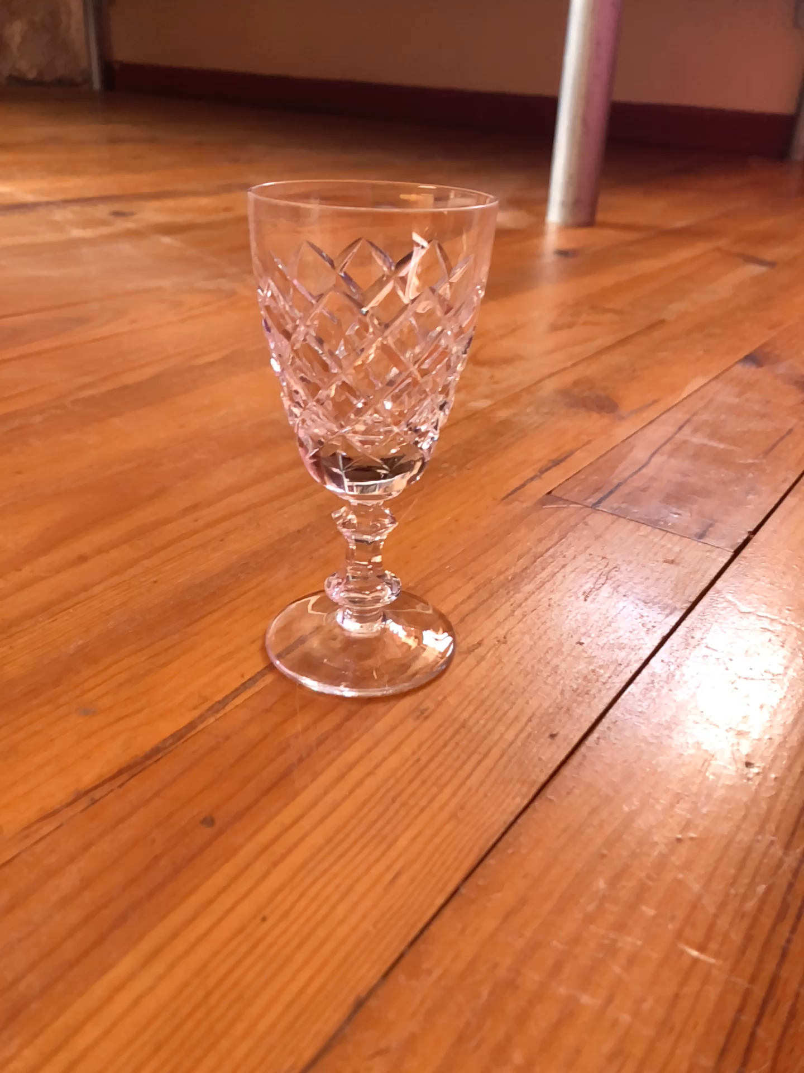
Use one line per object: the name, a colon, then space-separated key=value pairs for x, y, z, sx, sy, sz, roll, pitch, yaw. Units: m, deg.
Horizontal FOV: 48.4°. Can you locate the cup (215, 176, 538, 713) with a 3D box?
cup: x=-0.008 y=-0.022 z=0.214 sx=0.059 sy=0.113 sz=0.057 roll=3 pitch=26 yaw=-1
